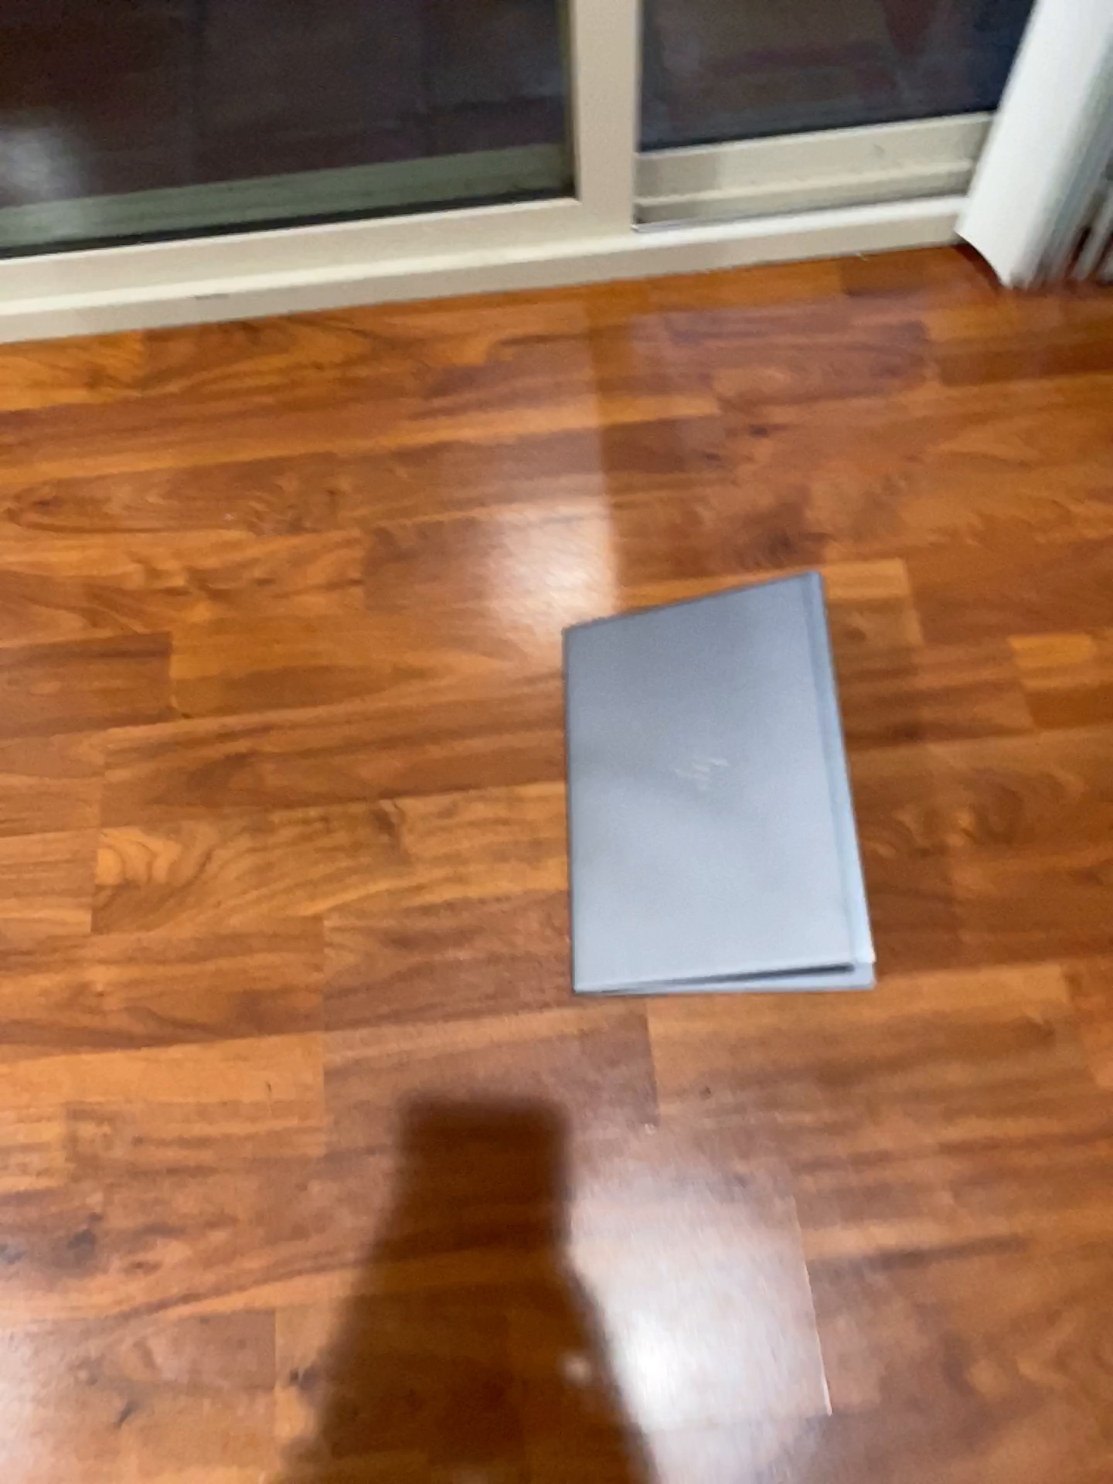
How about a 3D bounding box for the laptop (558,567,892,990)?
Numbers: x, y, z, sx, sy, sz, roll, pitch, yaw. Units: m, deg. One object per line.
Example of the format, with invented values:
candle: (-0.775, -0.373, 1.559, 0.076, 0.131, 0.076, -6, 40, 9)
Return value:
laptop: (0.121, 0.024, 0.906, 0.230, 0.078, 0.325, -2, 66, 1)
